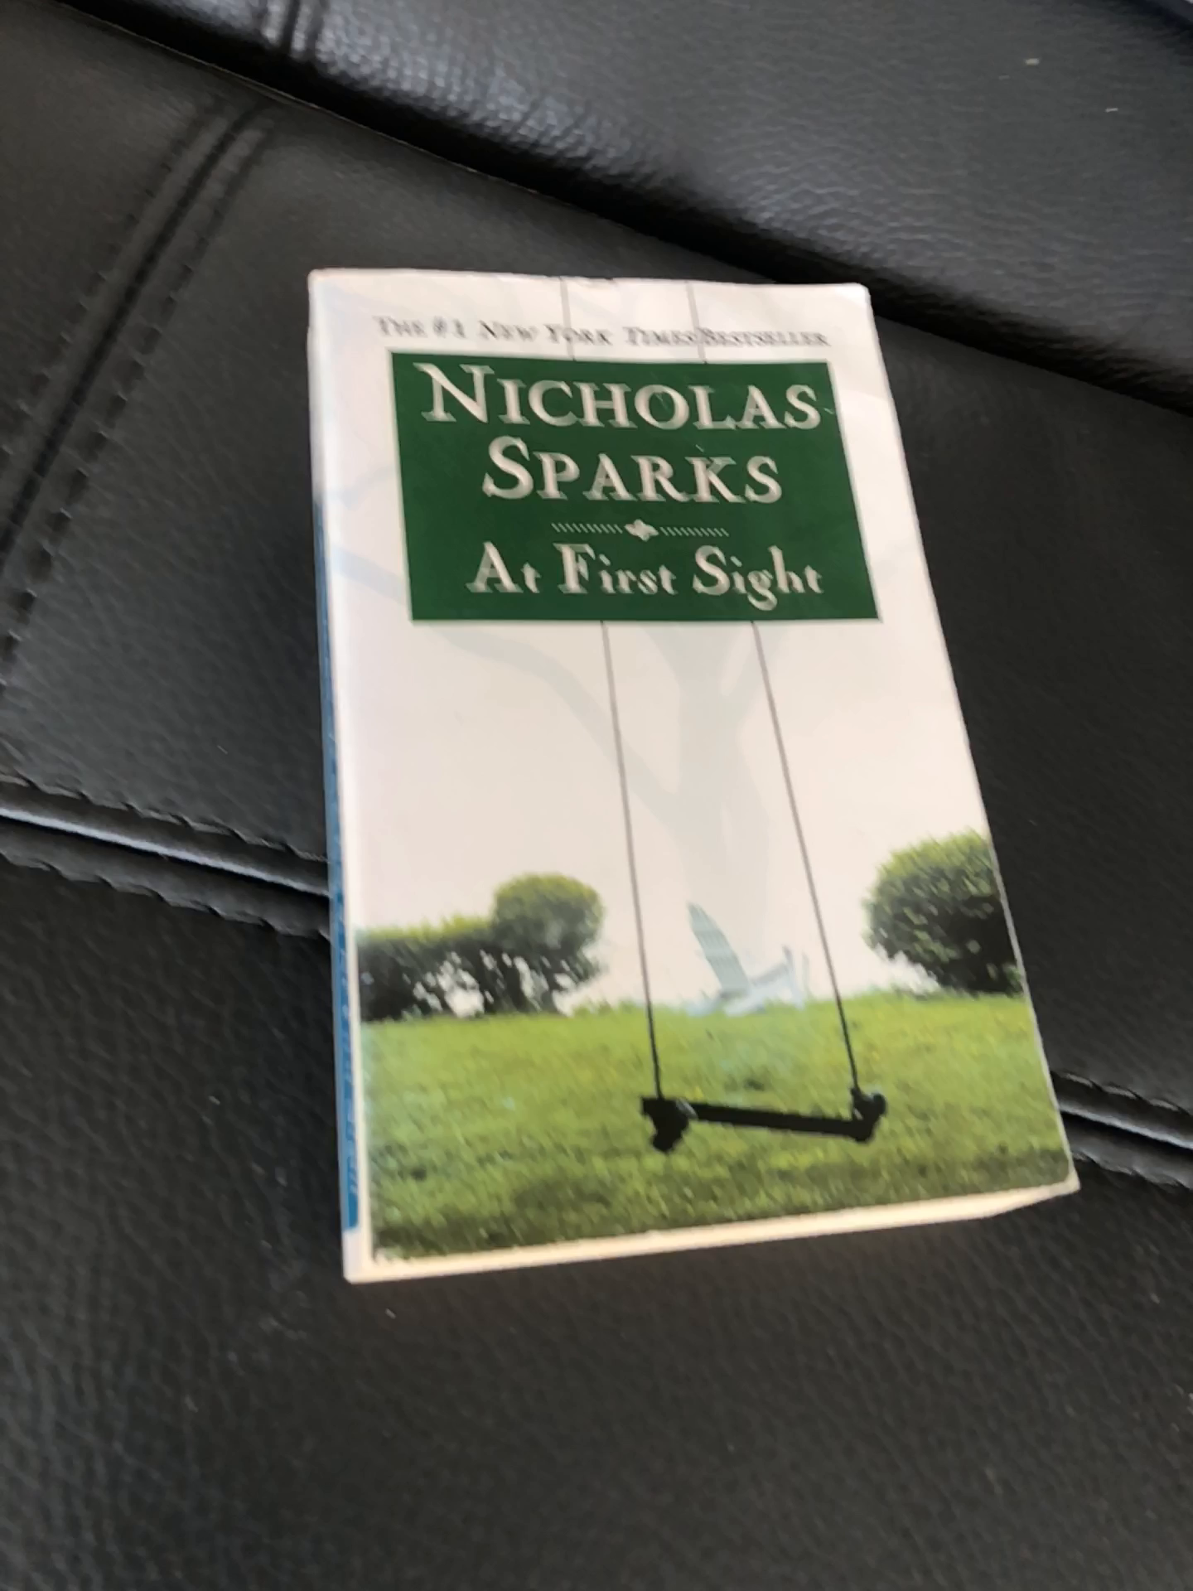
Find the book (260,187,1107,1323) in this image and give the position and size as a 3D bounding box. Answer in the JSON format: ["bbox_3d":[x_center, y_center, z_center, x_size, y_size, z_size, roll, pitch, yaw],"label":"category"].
[{"bbox_3d":[0.005,-0.017,0.232,0.120,0.030,0.190,-1,69,-14],"label":"book"}]
